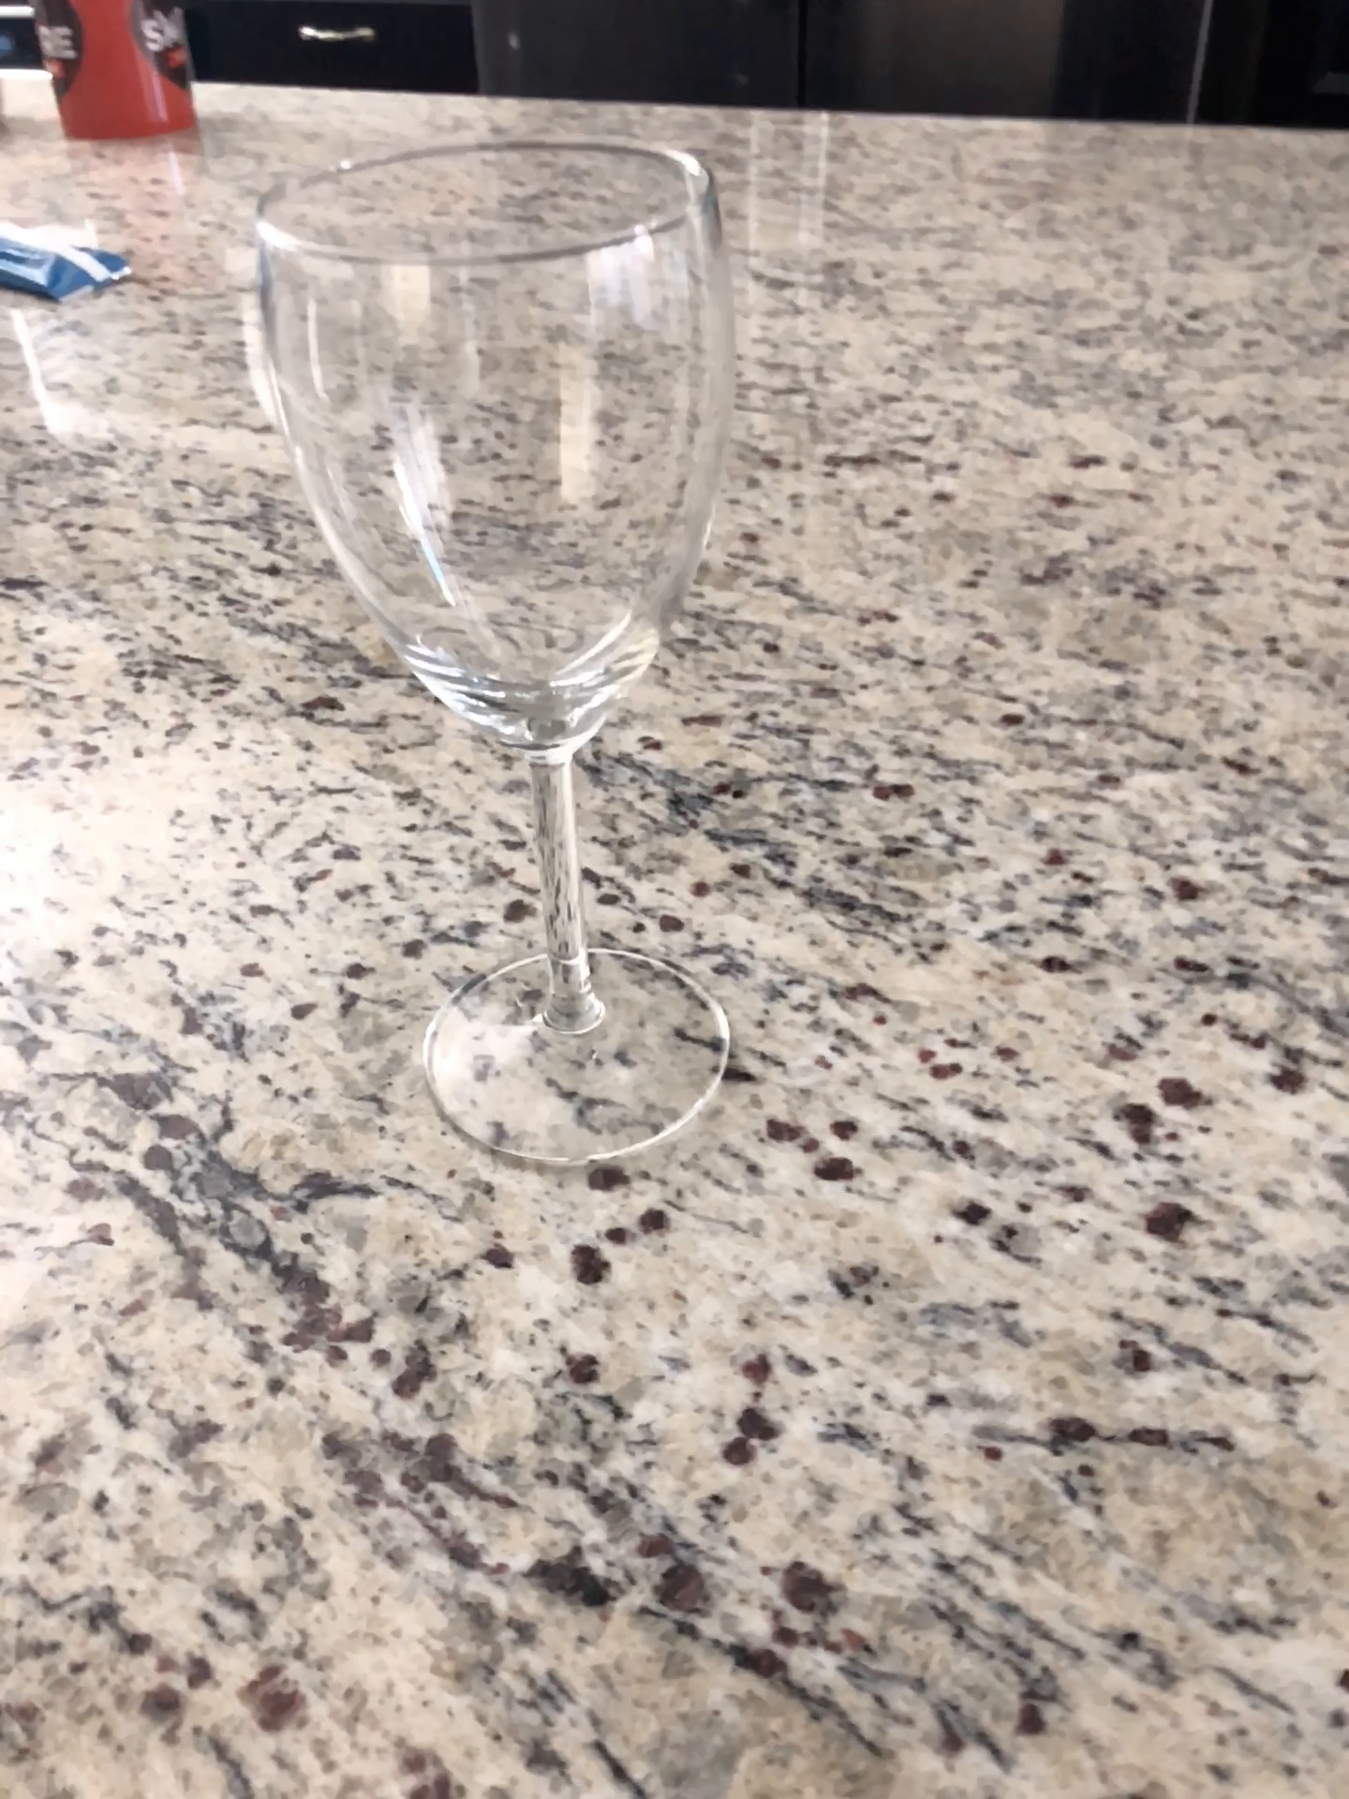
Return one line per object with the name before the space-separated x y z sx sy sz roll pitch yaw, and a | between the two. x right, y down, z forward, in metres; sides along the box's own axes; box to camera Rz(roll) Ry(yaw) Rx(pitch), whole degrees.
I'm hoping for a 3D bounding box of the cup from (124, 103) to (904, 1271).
cup | -0.022 -0.035 0.264 0.080 0.169 0.080 -1 37 1
